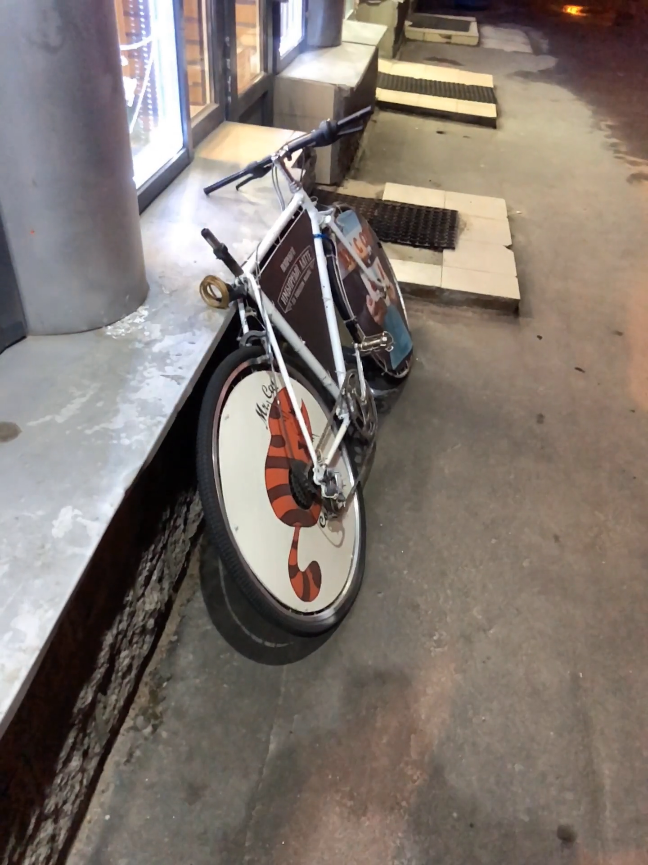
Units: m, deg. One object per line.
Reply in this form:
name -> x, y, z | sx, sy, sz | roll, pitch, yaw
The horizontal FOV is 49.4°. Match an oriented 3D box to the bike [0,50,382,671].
bike -> -0.243, -0.374, 1.962 | 0.569, 0.916, 1.595 | 8, 38, 6
